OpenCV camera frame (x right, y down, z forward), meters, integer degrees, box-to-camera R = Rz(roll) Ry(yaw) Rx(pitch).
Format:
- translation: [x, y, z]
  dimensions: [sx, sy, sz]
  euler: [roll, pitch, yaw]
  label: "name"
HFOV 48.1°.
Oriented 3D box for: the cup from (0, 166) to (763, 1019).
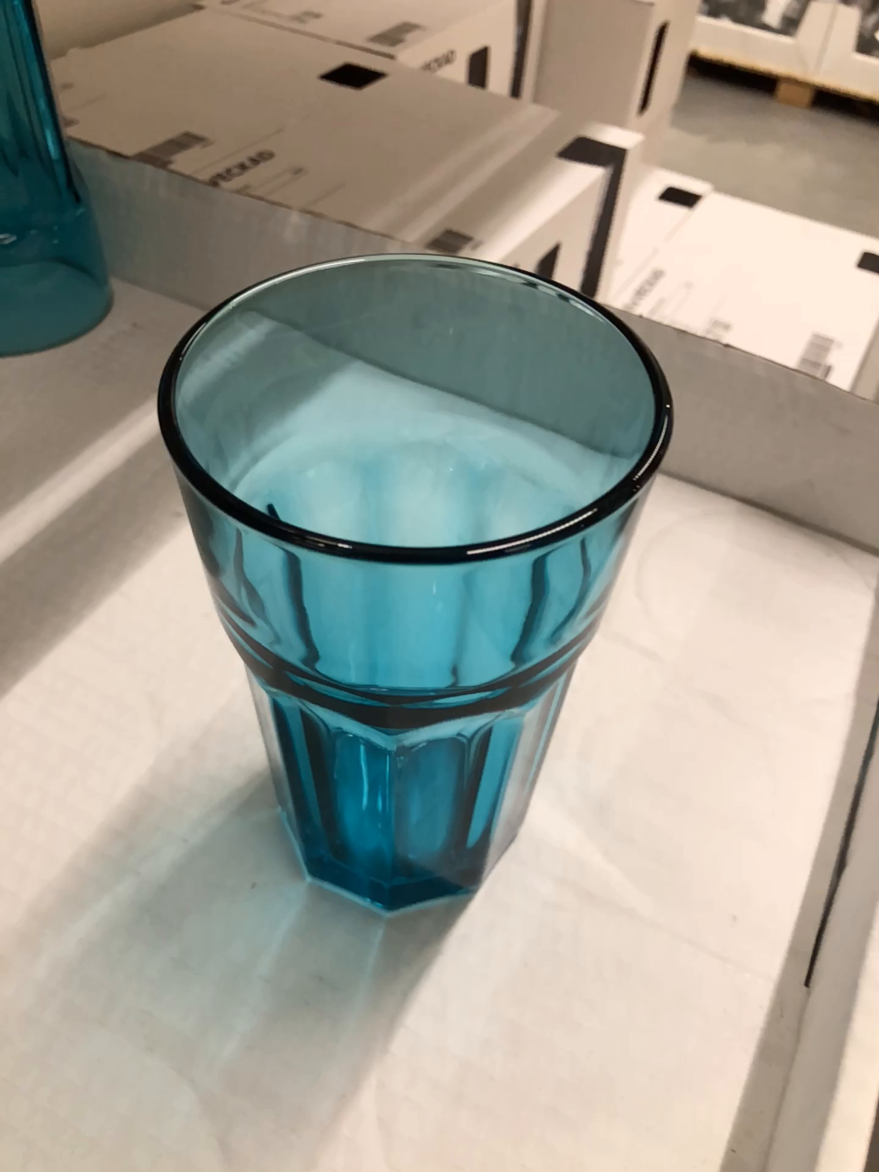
- translation: [-0.012, -0.002, 0.187]
  dimensions: [0.092, 0.102, 0.089]
  euler: [3, 45, -3]
  label: "cup"
